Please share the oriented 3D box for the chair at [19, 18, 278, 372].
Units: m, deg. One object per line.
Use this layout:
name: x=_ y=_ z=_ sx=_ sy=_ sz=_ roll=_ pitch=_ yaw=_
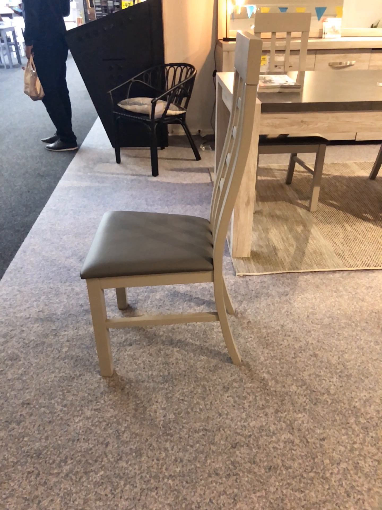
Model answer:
chair: x=-0.080 y=-0.178 z=1.362 sx=0.550 sy=1.014 sz=0.513 roll=0 pitch=31 yaw=1
